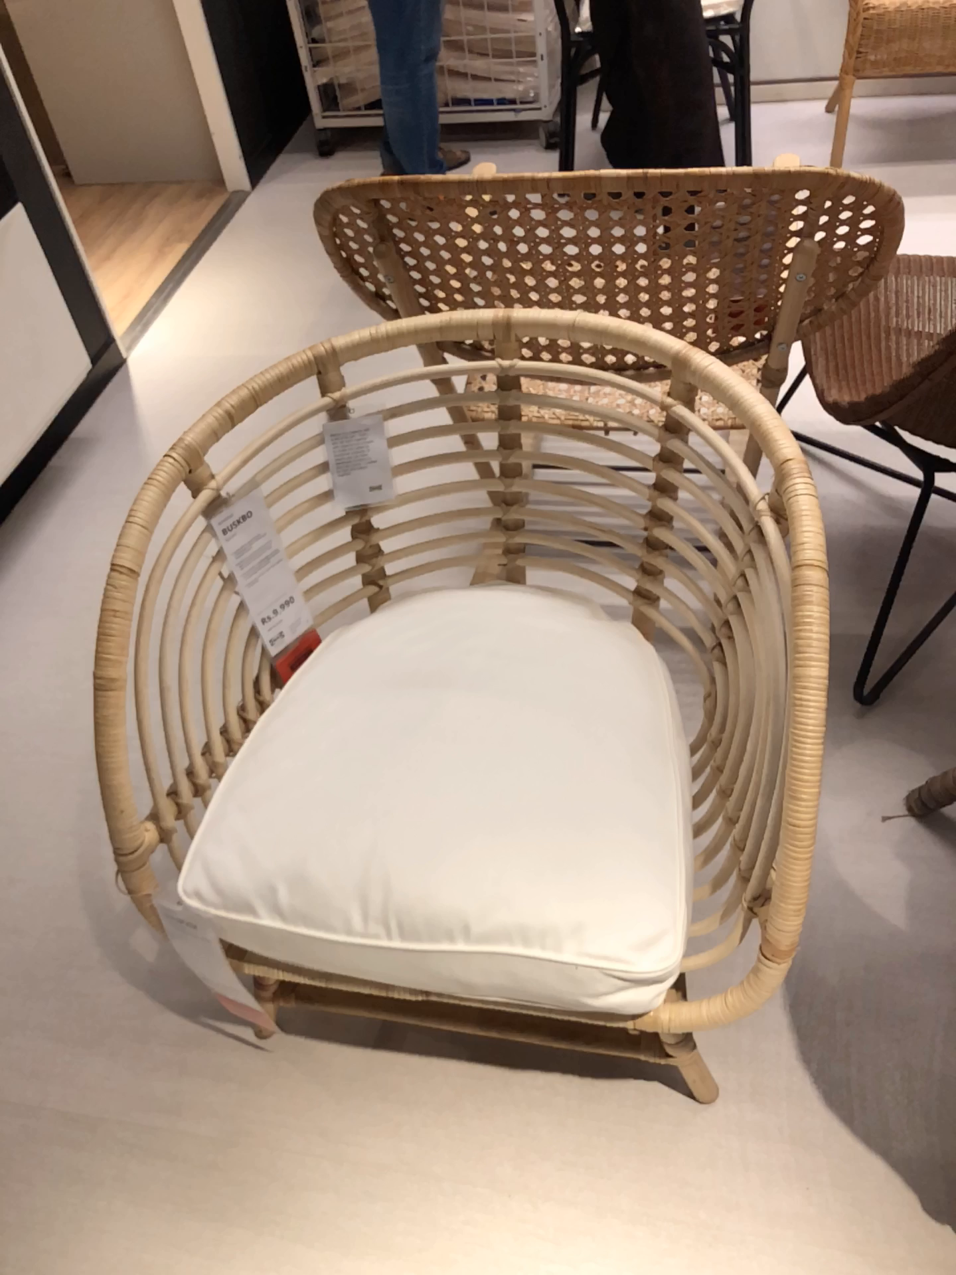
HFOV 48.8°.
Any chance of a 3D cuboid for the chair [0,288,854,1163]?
[{"bbox_3d":[0.010,0.091,1.340,0.781,0.775,0.704,5,47,14],"label":"chair"}]
